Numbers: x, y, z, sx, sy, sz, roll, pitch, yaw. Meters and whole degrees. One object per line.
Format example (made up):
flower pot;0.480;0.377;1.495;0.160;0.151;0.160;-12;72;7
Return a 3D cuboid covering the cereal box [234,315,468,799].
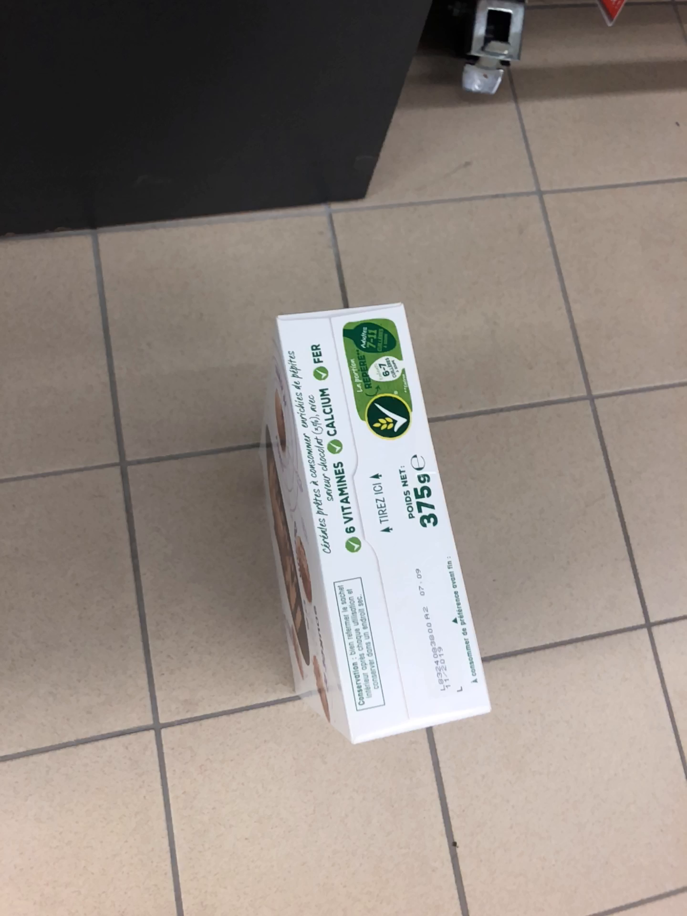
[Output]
cereal box;-0.018;0.063;0.457;0.060;0.269;0.200;-9;80;-11
